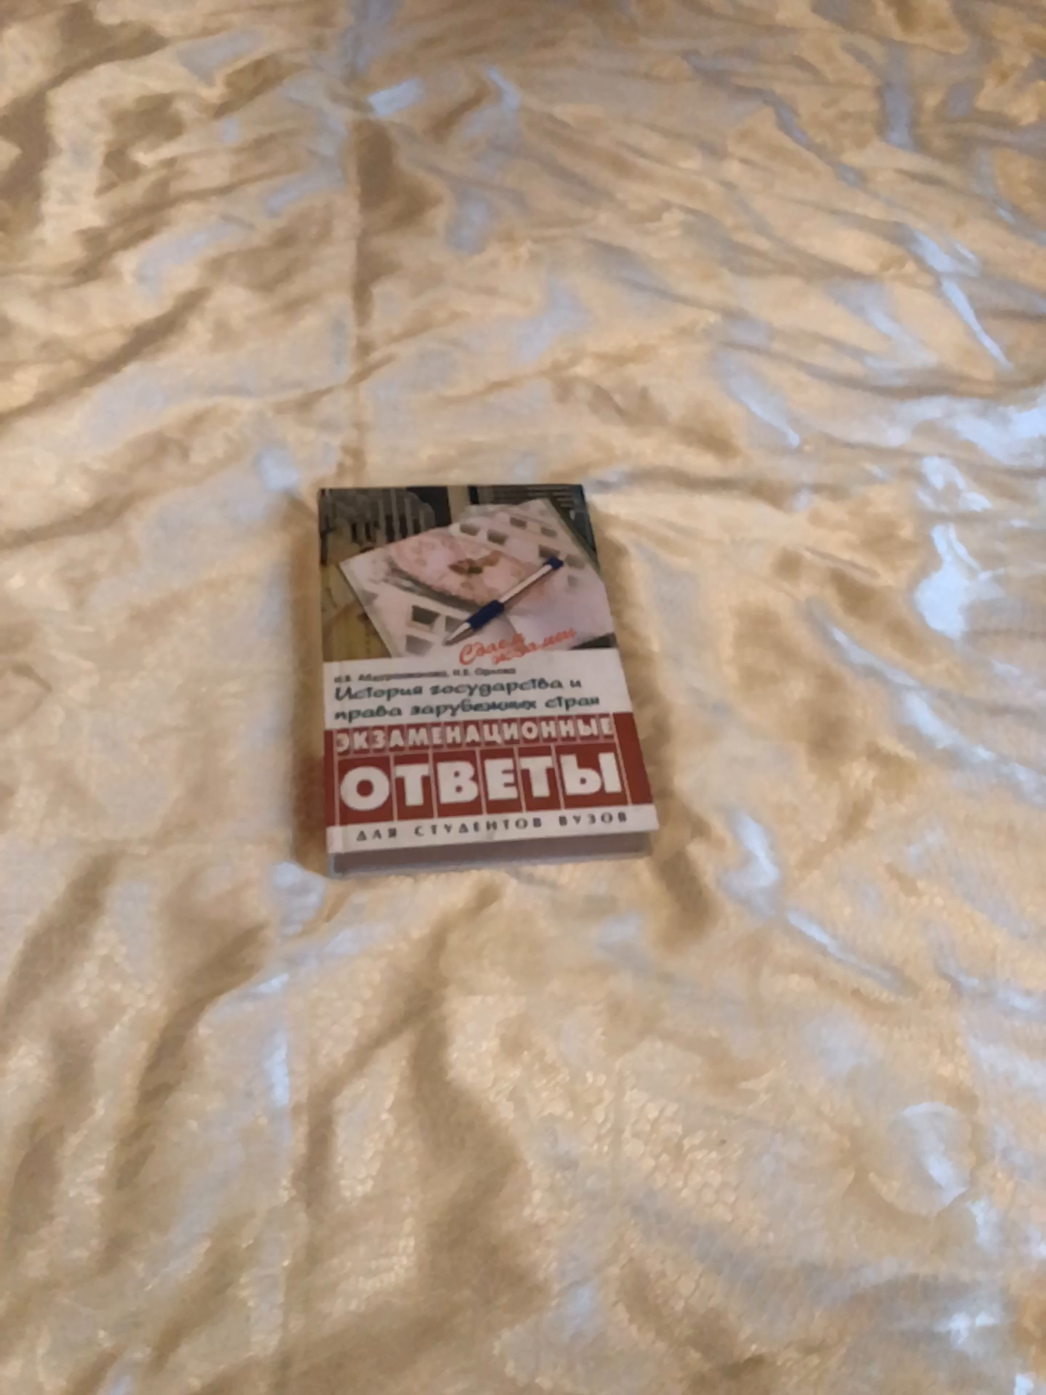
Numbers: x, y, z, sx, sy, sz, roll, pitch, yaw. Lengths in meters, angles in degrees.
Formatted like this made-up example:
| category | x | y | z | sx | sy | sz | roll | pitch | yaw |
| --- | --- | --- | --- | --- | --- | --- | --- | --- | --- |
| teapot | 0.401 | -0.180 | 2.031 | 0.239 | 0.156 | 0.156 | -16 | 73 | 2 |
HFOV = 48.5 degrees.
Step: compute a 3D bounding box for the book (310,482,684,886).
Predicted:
| category | x | y | z | sx | sy | sz | roll | pitch | yaw |
| --- | --- | --- | --- | --- | --- | --- | --- | --- | --- |
| book | -0.020 | -0.017 | 0.539 | 0.150 | 0.030 | 0.211 | -2 | 52 | -6 |
